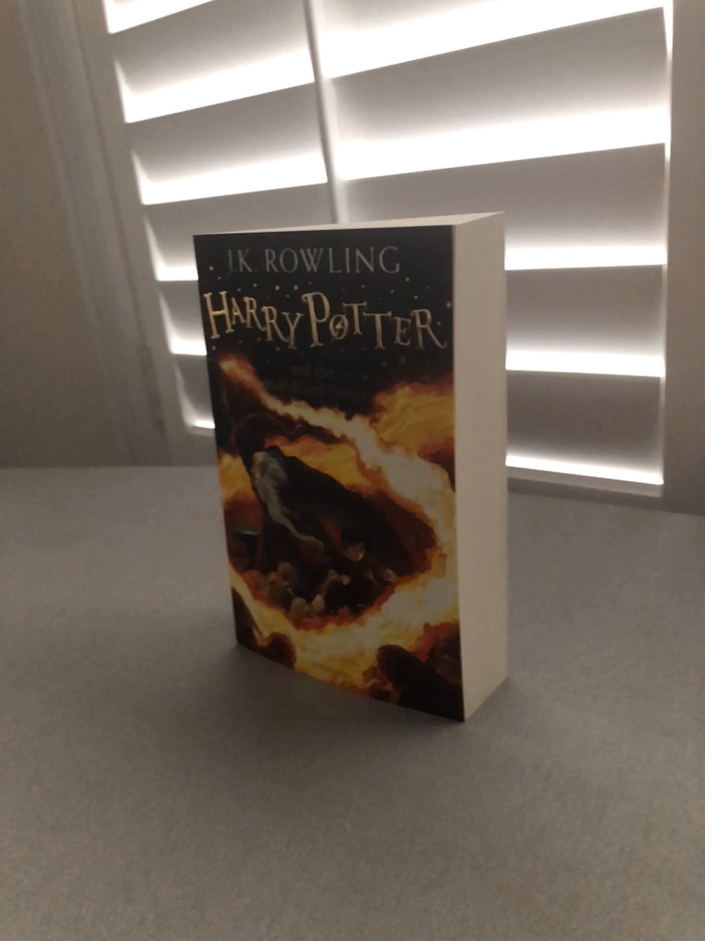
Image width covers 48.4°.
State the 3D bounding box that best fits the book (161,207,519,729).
[{"bbox_3d":[-0.005,-0.006,0.340,0.142,0.194,0.047,8,21,37],"label":"book"}]
